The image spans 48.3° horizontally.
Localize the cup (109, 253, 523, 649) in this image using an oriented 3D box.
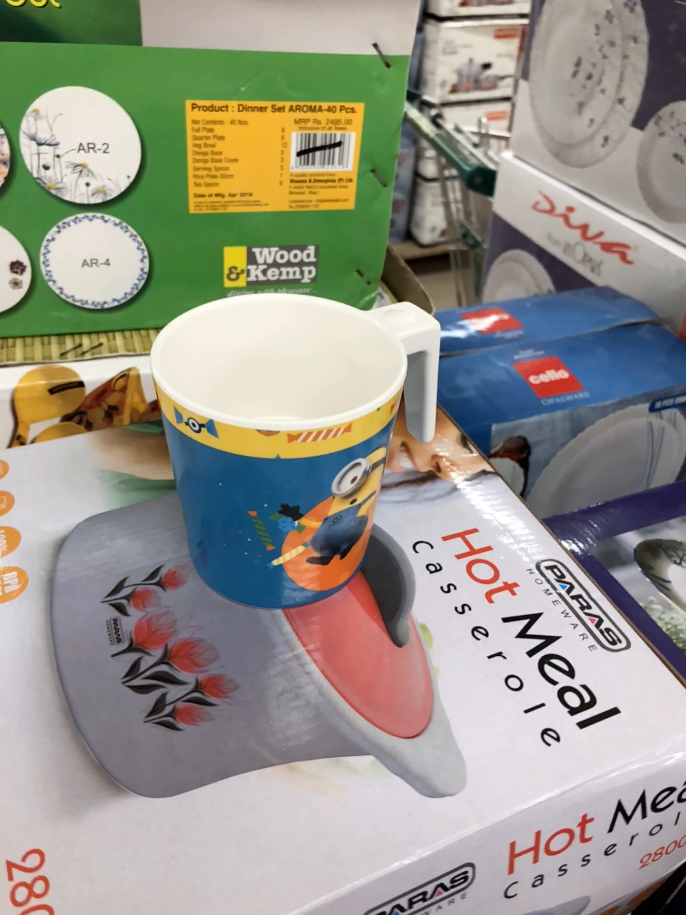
[{"bbox_3d":[-0.009,-0.010,0.276,0.110,0.079,0.080,-25,46,-31],"label":"cup"}]
